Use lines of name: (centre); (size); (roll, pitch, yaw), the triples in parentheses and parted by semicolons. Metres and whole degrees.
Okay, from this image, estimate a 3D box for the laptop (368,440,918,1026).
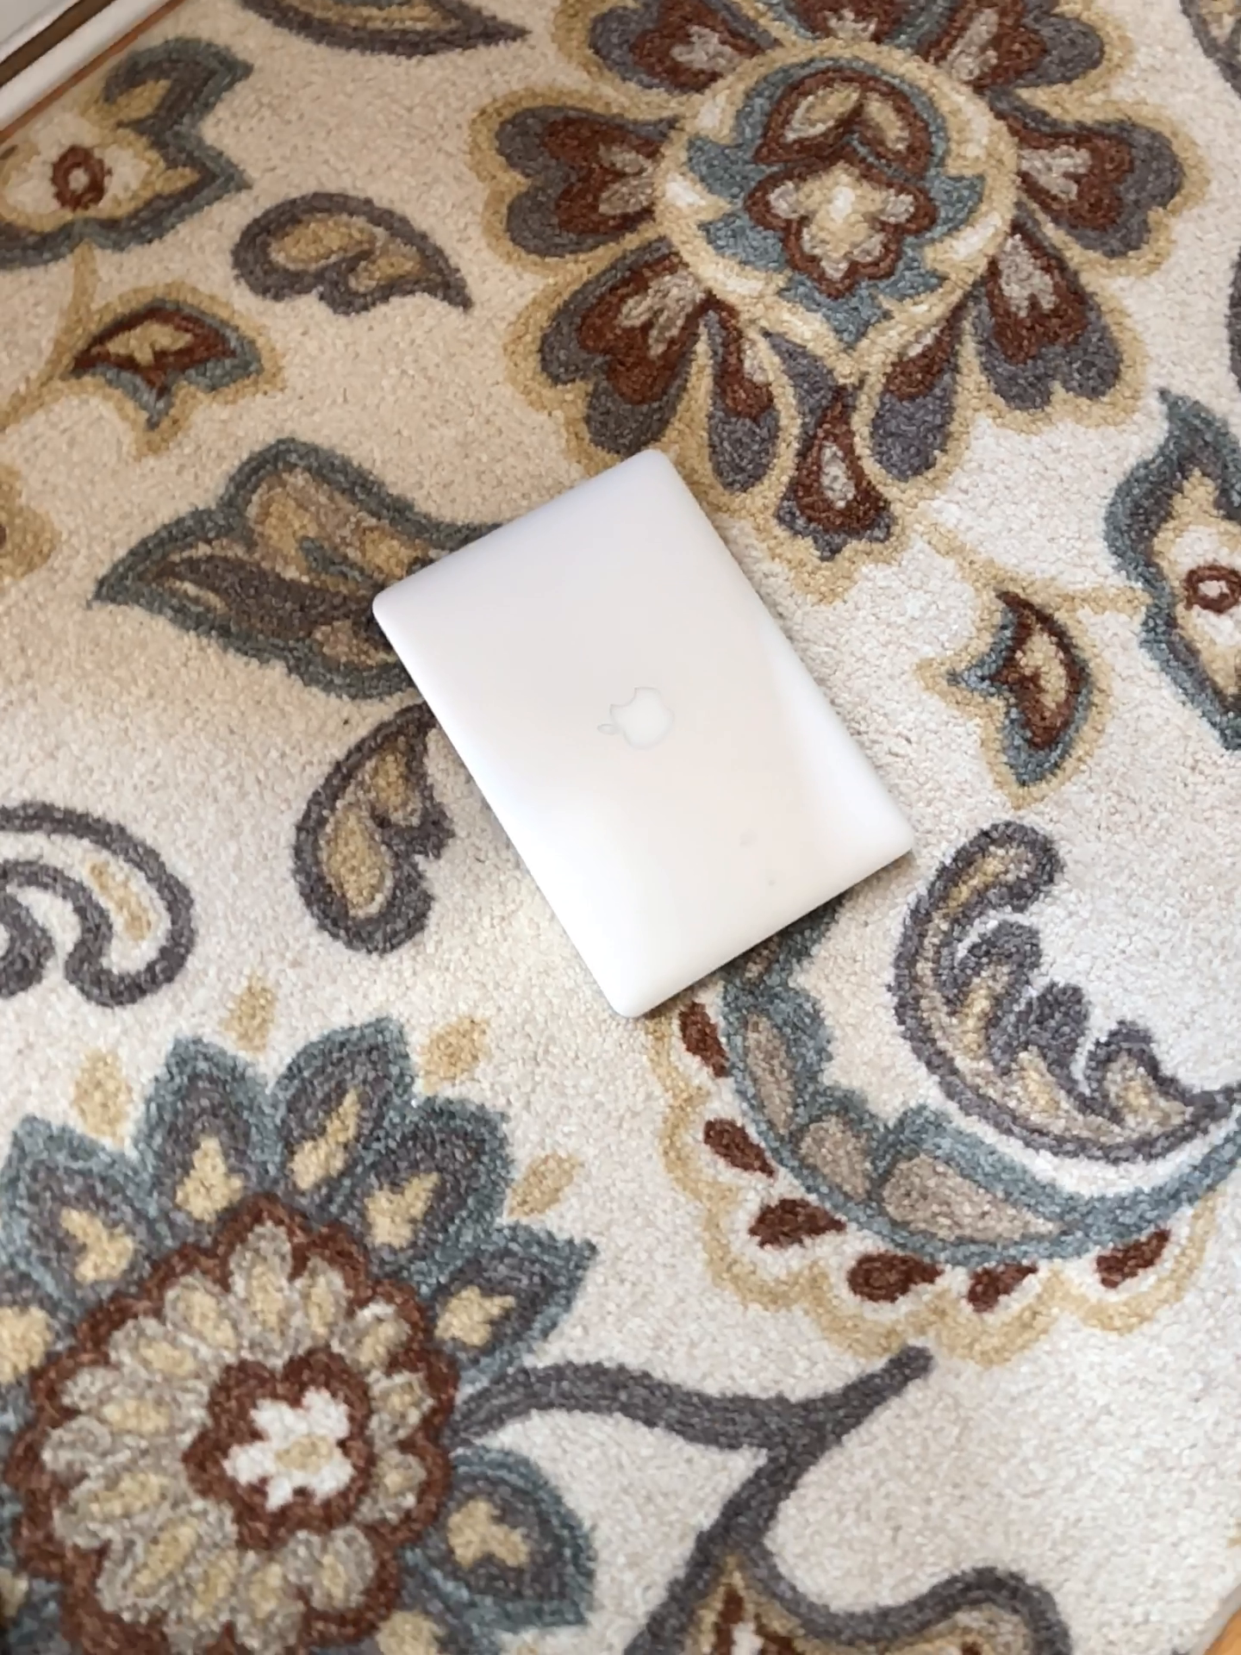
laptop: (0.013, -0.064, 0.813); (0.207, 0.001, 0.295); (-30, 82, -10)
